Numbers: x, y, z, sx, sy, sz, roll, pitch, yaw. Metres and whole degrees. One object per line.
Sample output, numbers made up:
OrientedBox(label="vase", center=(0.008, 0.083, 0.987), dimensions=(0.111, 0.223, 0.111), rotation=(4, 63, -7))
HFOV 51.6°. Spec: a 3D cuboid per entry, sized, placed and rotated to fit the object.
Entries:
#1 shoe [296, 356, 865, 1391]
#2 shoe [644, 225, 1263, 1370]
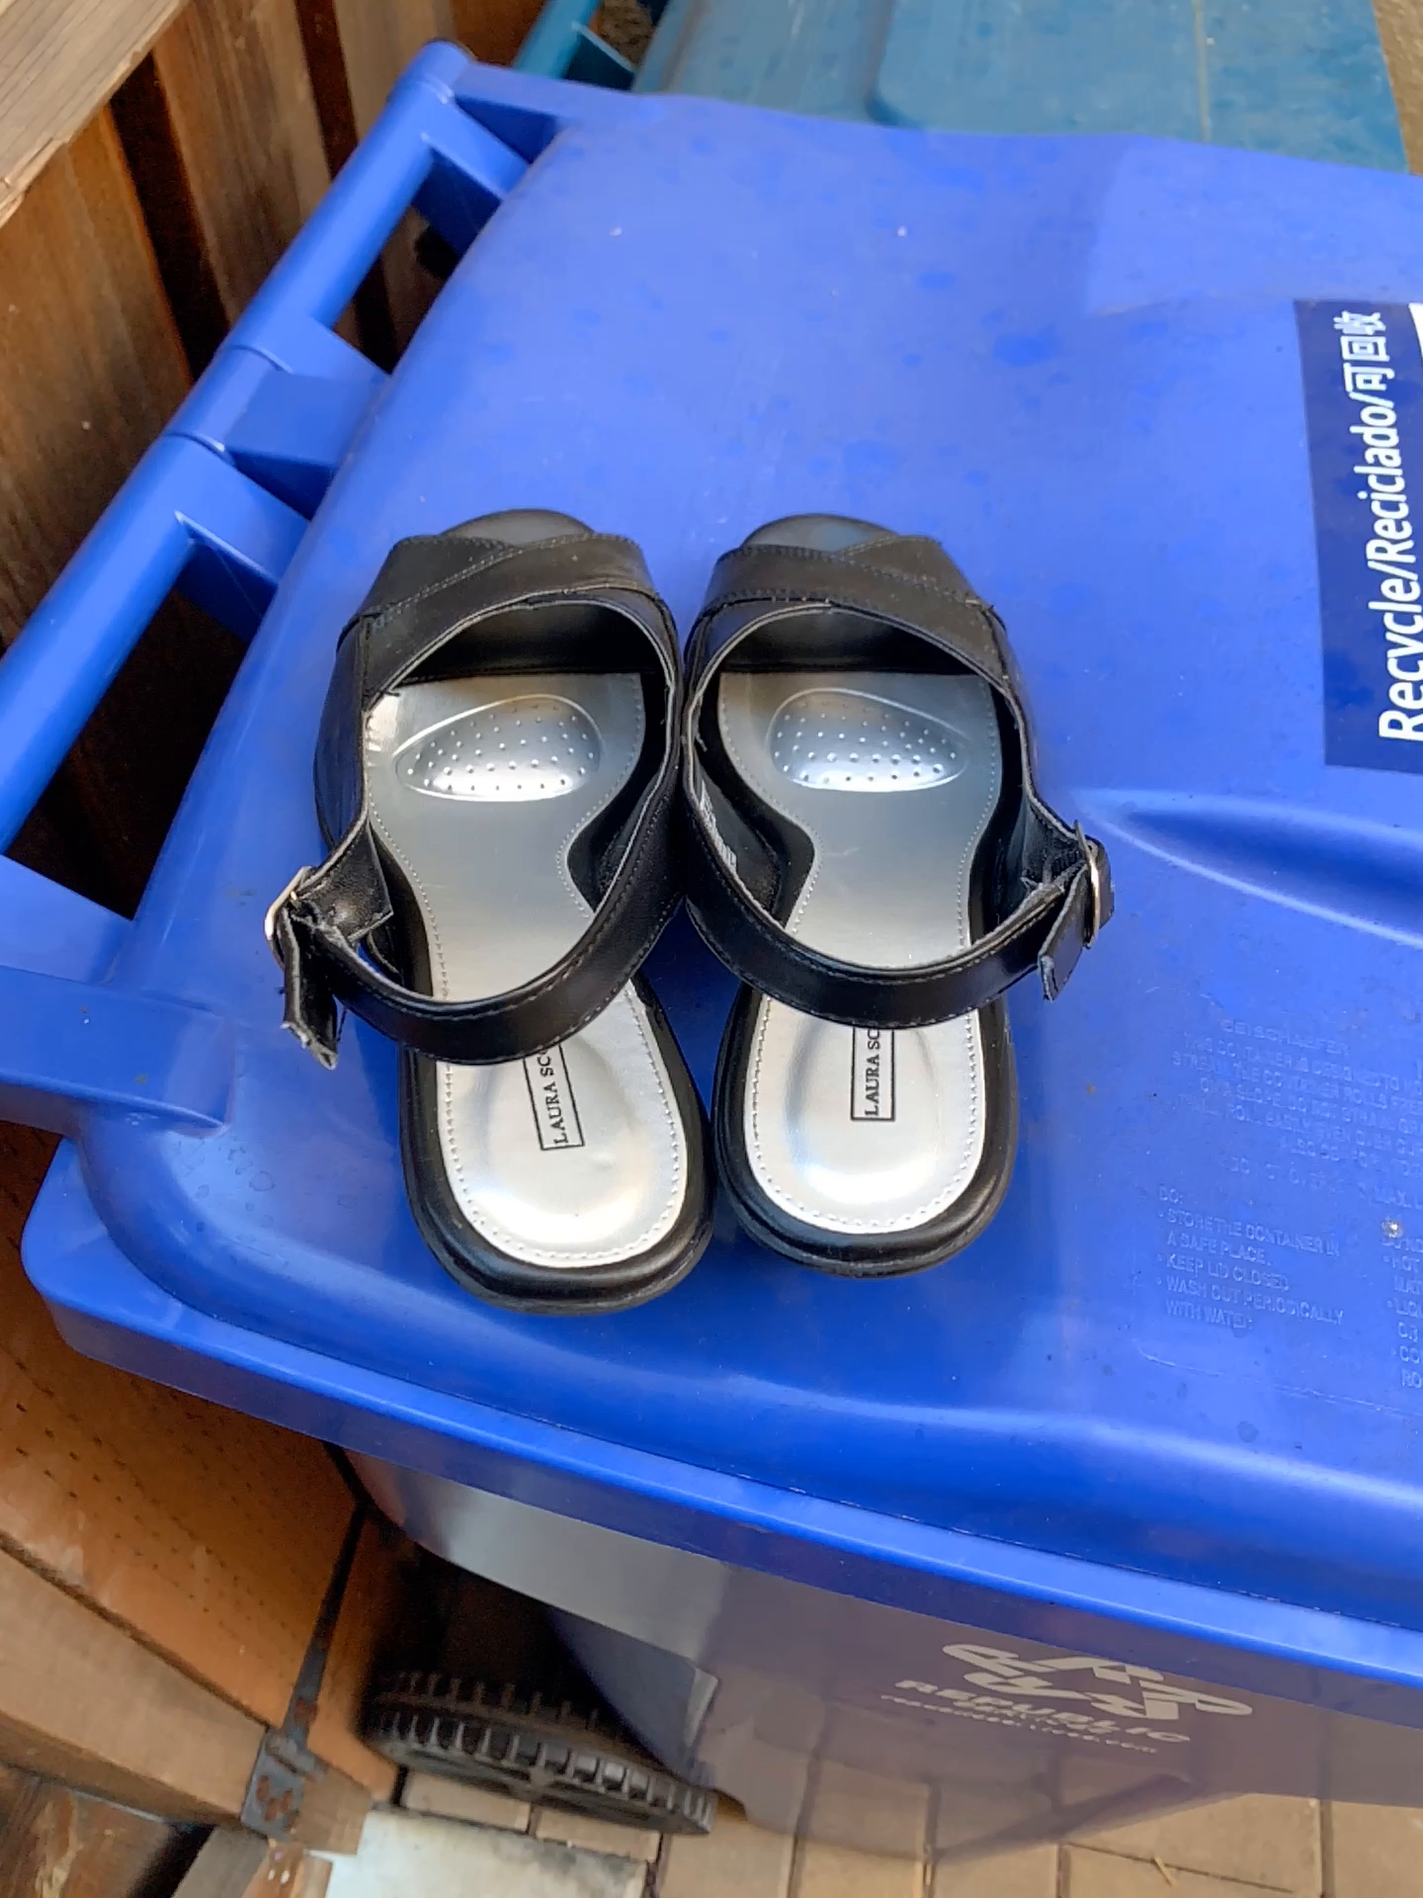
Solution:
OrientedBox(label="shoe", center=(-0.051, -0.037, 0.347), dimensions=(0.090, 0.089, 0.252), rotation=(-1, 45, -15))
OrientedBox(label="shoe", center=(0.033, -0.047, 0.328), dimensions=(0.090, 0.099, 0.252), rotation=(-1, 54, 0))
